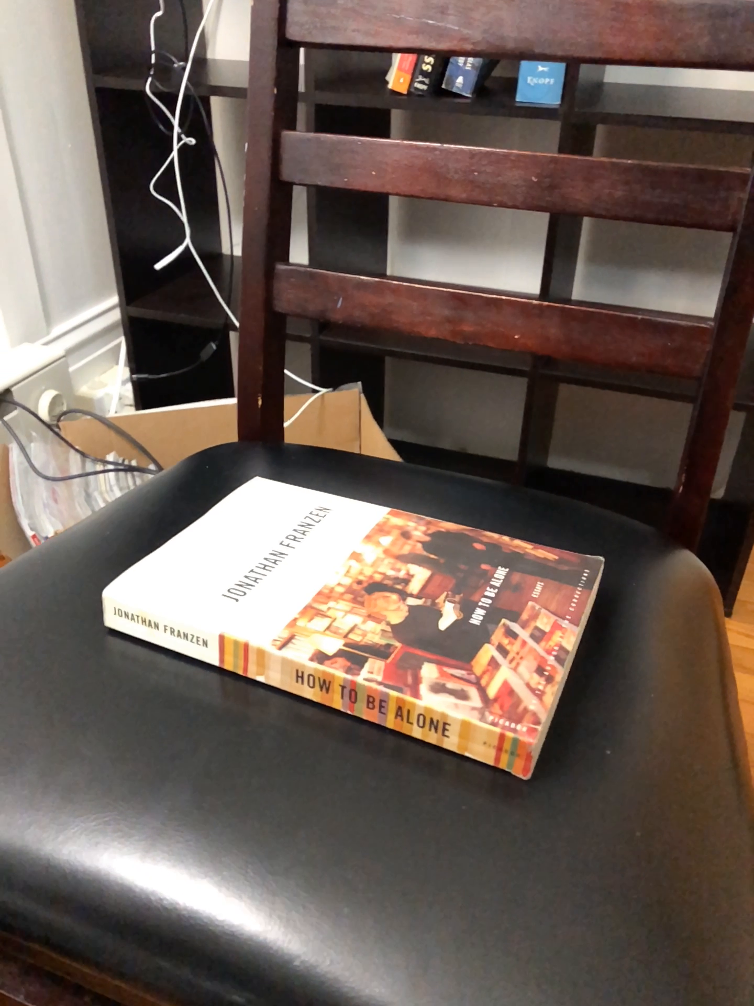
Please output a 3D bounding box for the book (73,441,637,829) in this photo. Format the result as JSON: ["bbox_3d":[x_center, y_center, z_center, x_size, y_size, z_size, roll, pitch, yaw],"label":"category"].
[{"bbox_3d":[-0.003,0.045,0.418,0.230,0.040,0.161,15,35,20],"label":"book"}]
